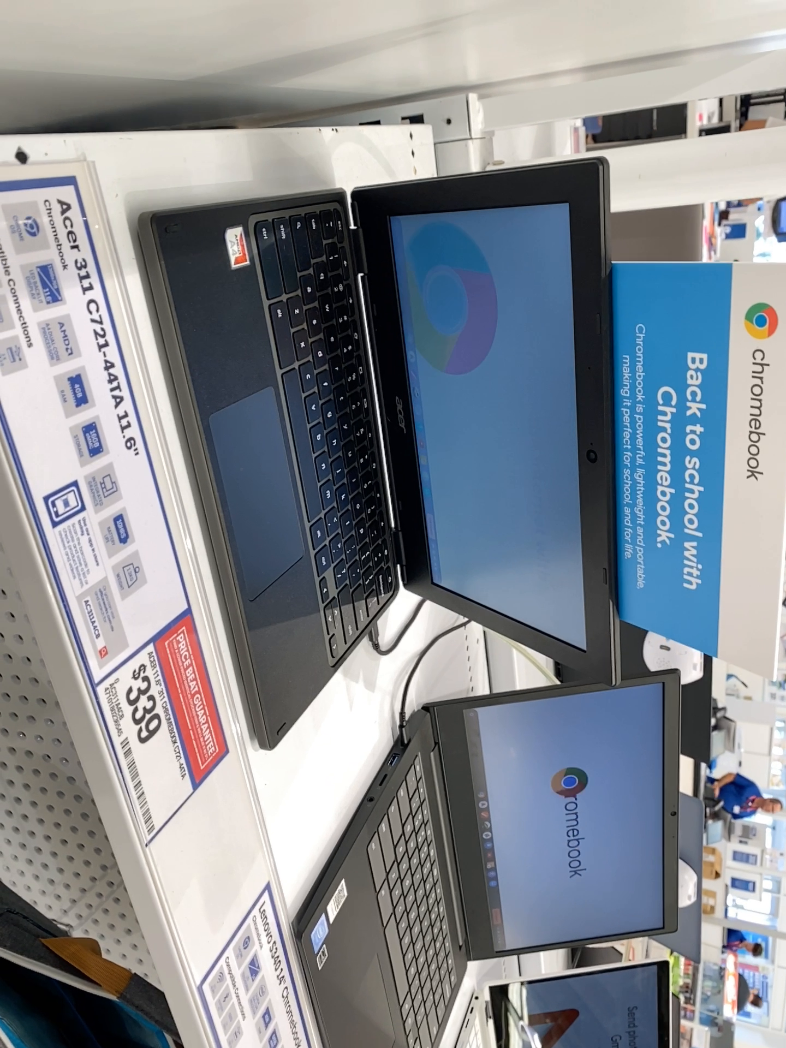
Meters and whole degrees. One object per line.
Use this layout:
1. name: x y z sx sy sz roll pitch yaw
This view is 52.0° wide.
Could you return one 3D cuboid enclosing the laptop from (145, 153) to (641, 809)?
1. laptop: 0.032 -0.038 0.457 0.201 0.181 0.290 -46 134 -56
